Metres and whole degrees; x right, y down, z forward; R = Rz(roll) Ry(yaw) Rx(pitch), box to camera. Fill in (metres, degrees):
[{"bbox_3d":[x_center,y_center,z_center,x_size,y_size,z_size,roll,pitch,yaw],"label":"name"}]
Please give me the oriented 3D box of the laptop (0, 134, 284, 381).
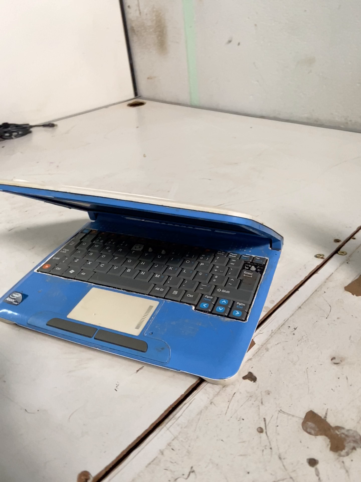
[{"bbox_3d":[-0.046,-0.013,0.356,0.247,0.116,0.183,9,35,23],"label":"laptop"}]
